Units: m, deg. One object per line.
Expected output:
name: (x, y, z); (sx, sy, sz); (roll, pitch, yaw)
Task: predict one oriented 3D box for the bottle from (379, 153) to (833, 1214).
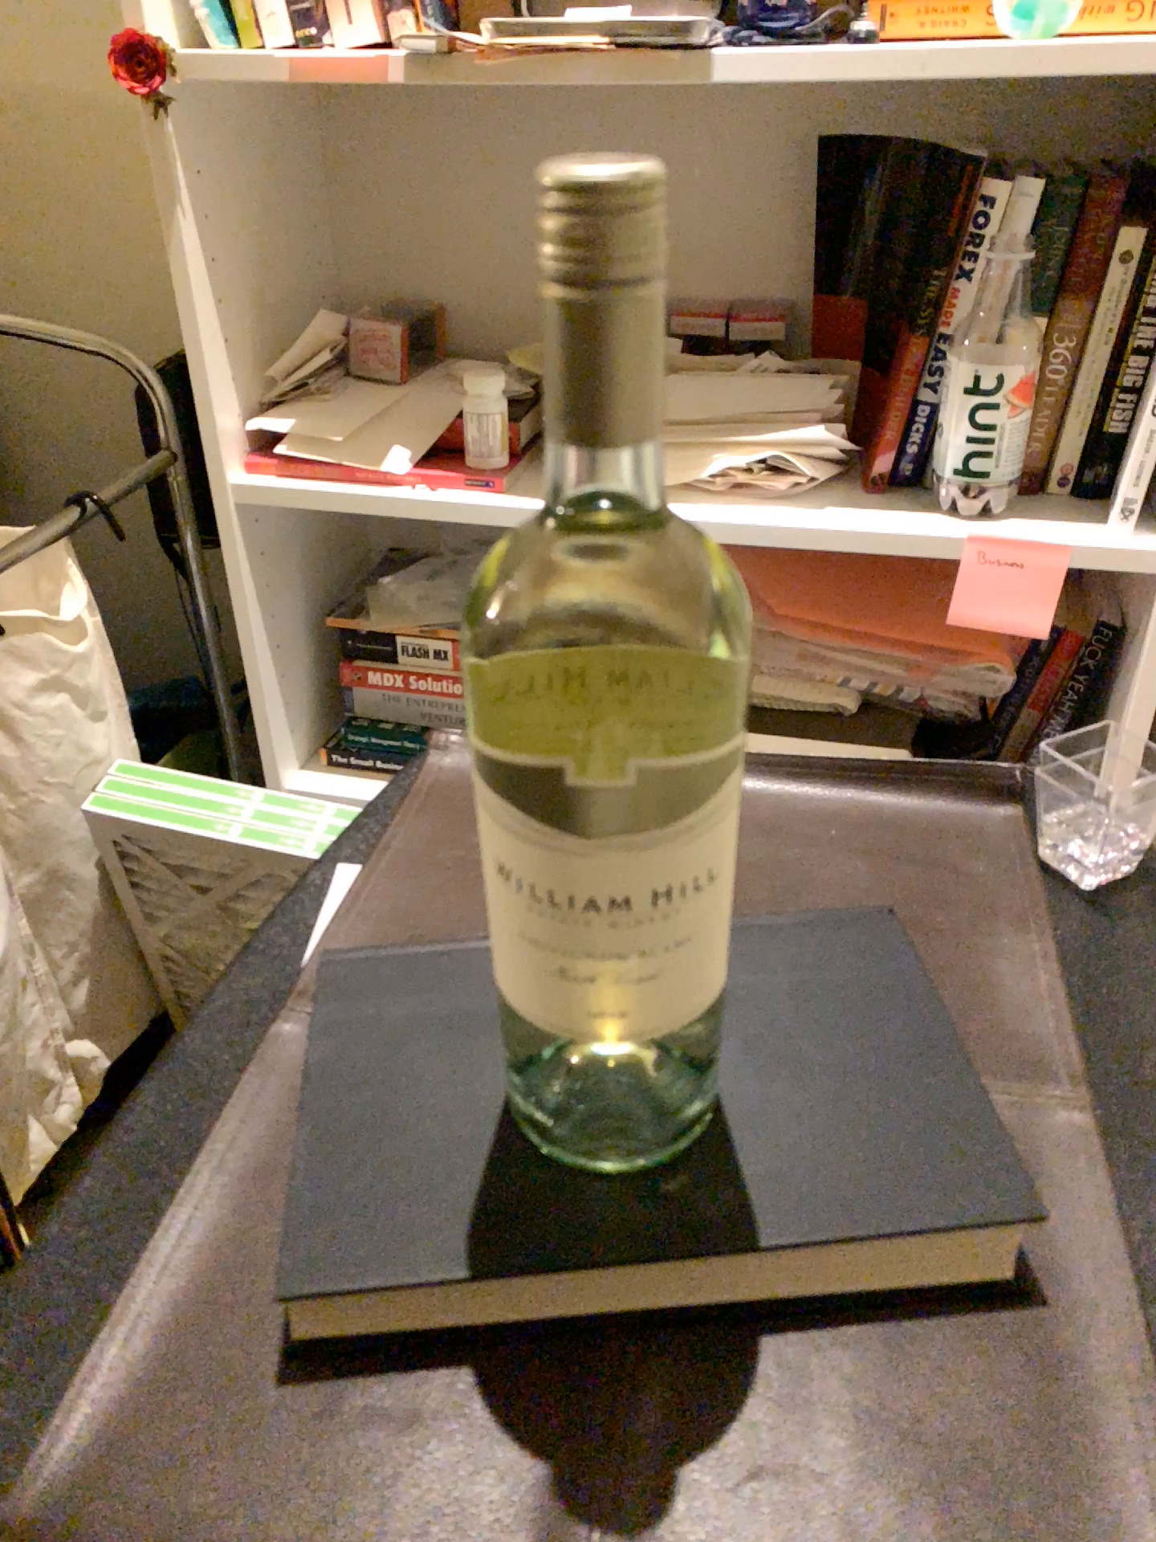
bottle: (0.013, -0.010, 0.348); (0.090, 0.298, 0.091); (-1, 31, 1)
